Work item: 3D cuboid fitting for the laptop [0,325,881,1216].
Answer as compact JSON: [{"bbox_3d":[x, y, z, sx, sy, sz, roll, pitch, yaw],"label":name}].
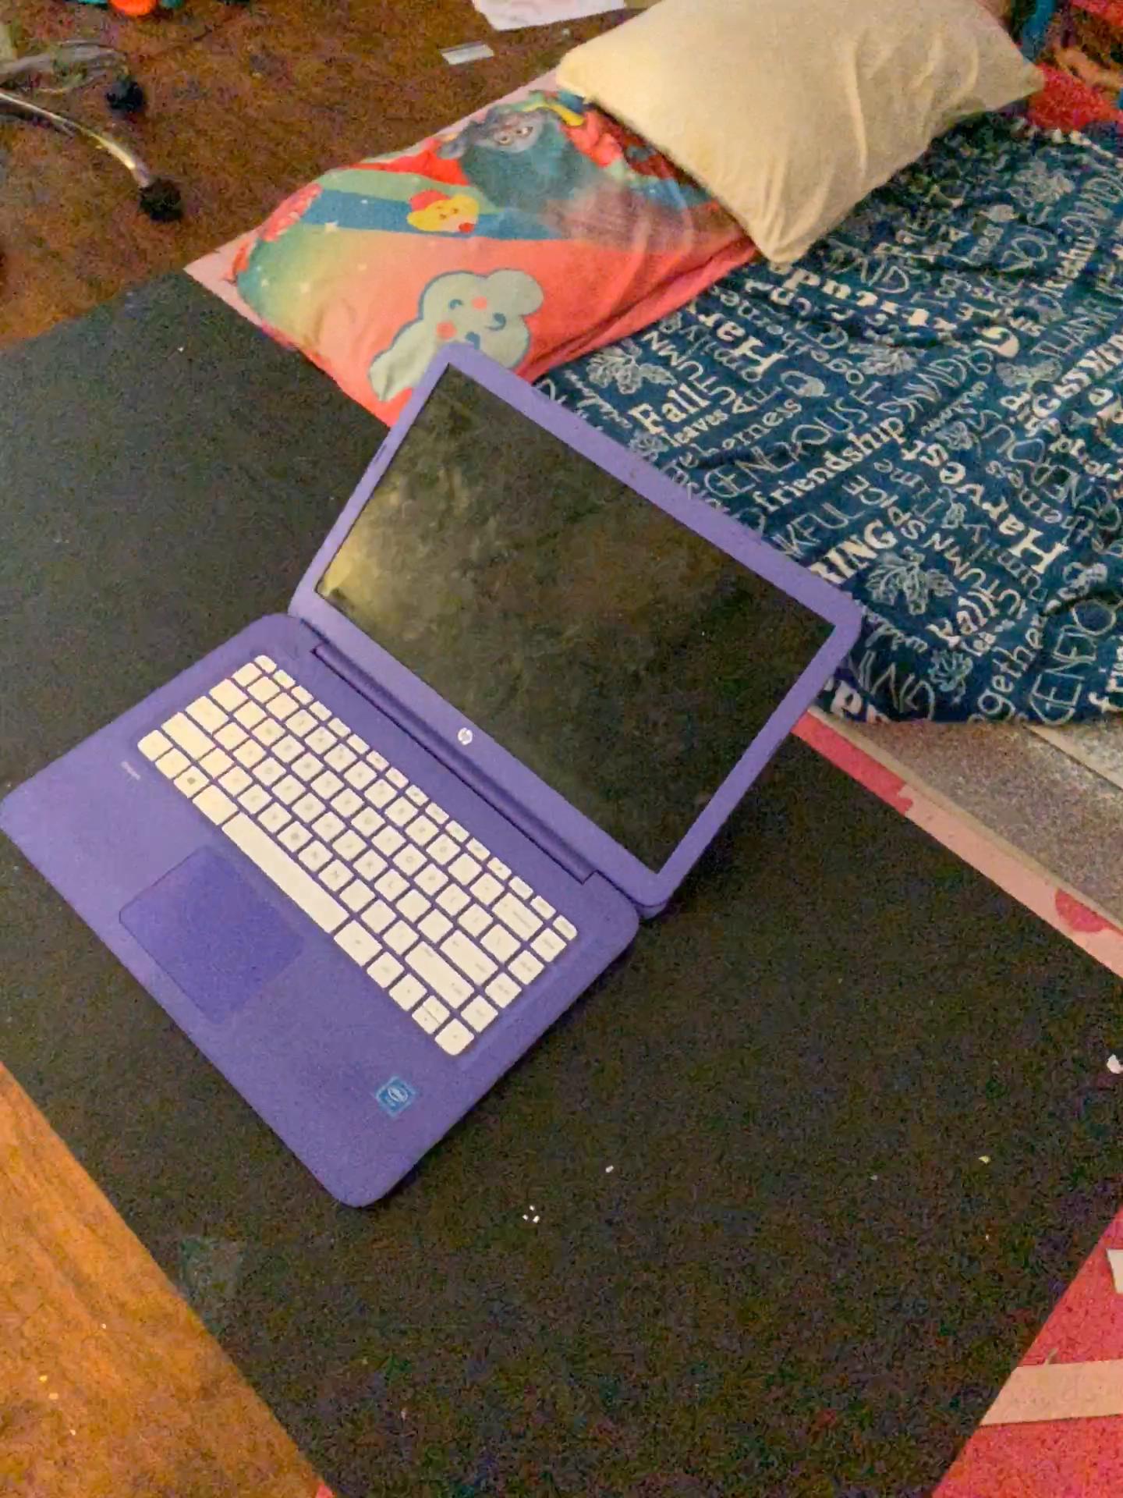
[{"bbox_3d":[-0.085,-0.021,0.667,0.340,0.132,0.398,39,64,21],"label":"laptop"}]
